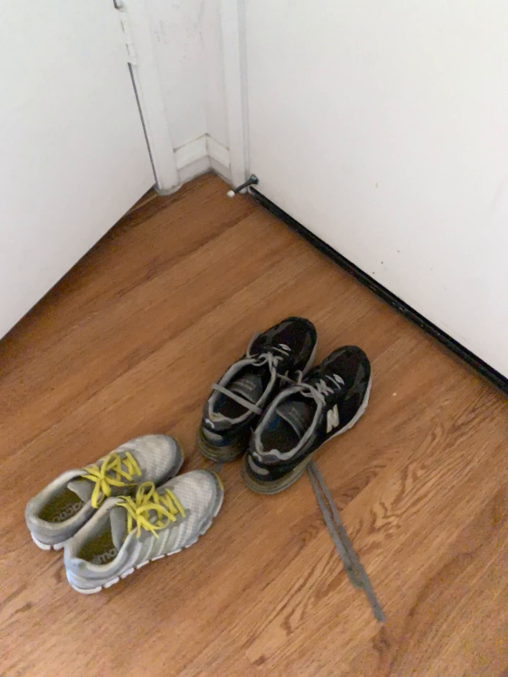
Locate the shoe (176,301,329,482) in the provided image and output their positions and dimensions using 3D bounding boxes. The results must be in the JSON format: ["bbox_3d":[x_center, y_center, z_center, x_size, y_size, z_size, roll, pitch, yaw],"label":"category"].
[{"bbox_3d":[0.001,0.101,0.988,0.100,0.169,0.310,35,65,16],"label":"shoe"}]

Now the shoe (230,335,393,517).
[{"bbox_3d":[0.099,0.158,0.931,0.100,0.169,0.300,40,66,18],"label":"shoe"}]

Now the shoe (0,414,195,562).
[{"bbox_3d":[-0.228,0.235,0.797,0.260,0.170,0.070,-28,69,-15],"label":"shoe"}]

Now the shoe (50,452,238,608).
[{"bbox_3d":[-0.158,0.301,0.810,0.250,0.170,0.090,-28,69,-15],"label":"shoe"}]
